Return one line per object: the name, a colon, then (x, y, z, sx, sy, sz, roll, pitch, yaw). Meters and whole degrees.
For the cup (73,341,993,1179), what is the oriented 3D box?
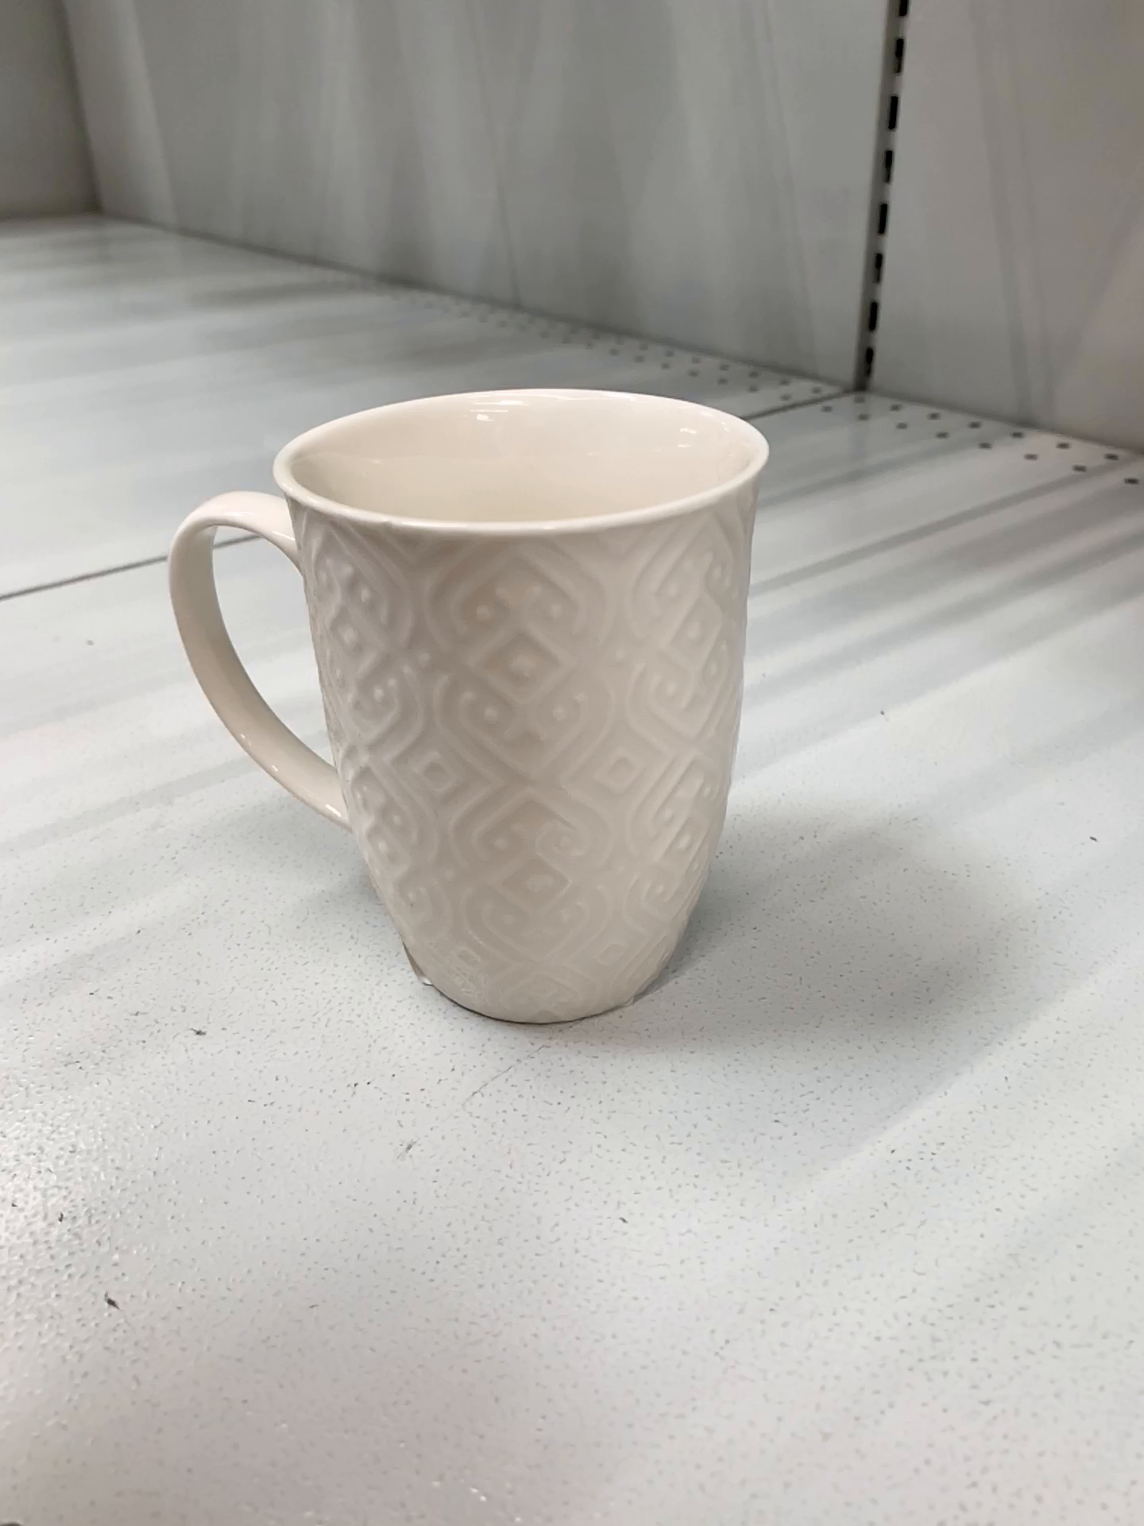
cup: (-0.008, -0.016, 0.230, 0.132, 0.098, 0.092, 22, 37, 34)
